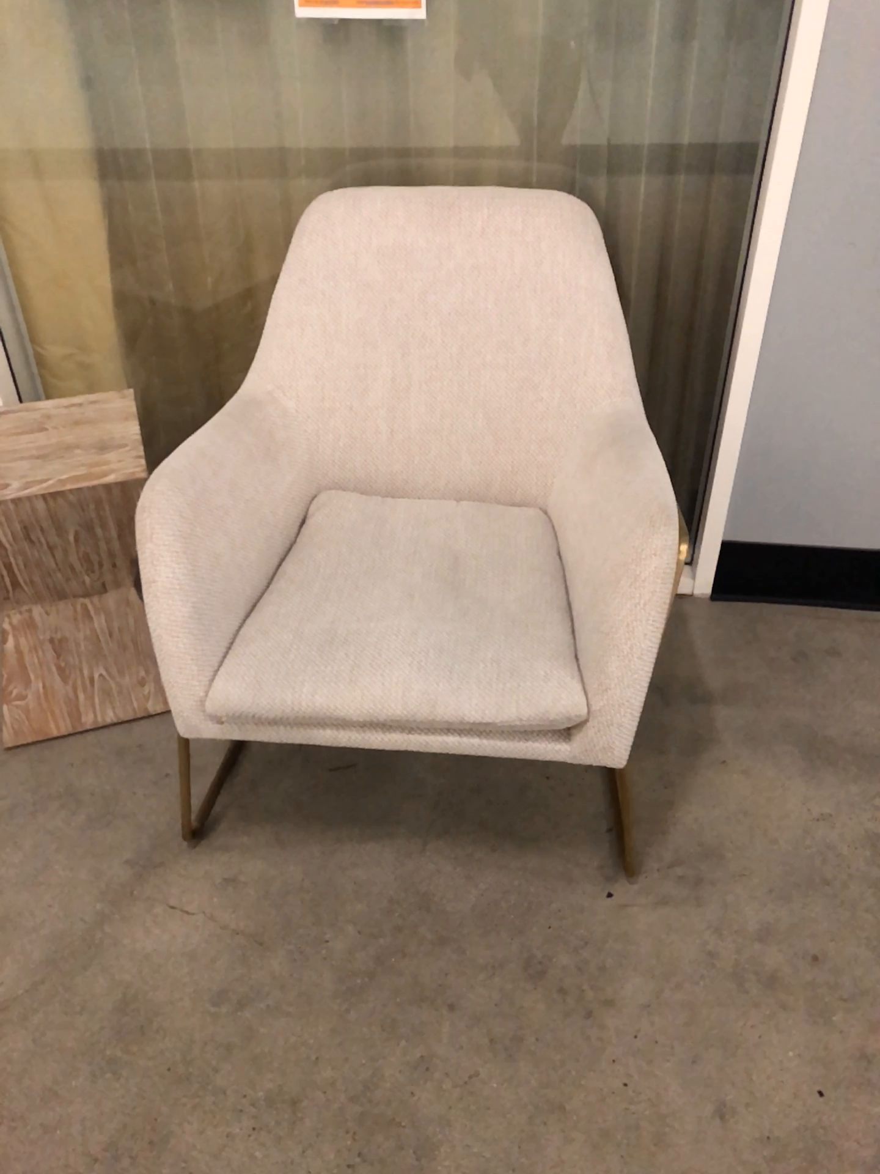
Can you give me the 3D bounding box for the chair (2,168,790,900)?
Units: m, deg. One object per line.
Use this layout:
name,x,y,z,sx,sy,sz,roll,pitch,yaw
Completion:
chair,-0.008,-0.152,1.607,0.830,0.816,0.894,3,35,6
